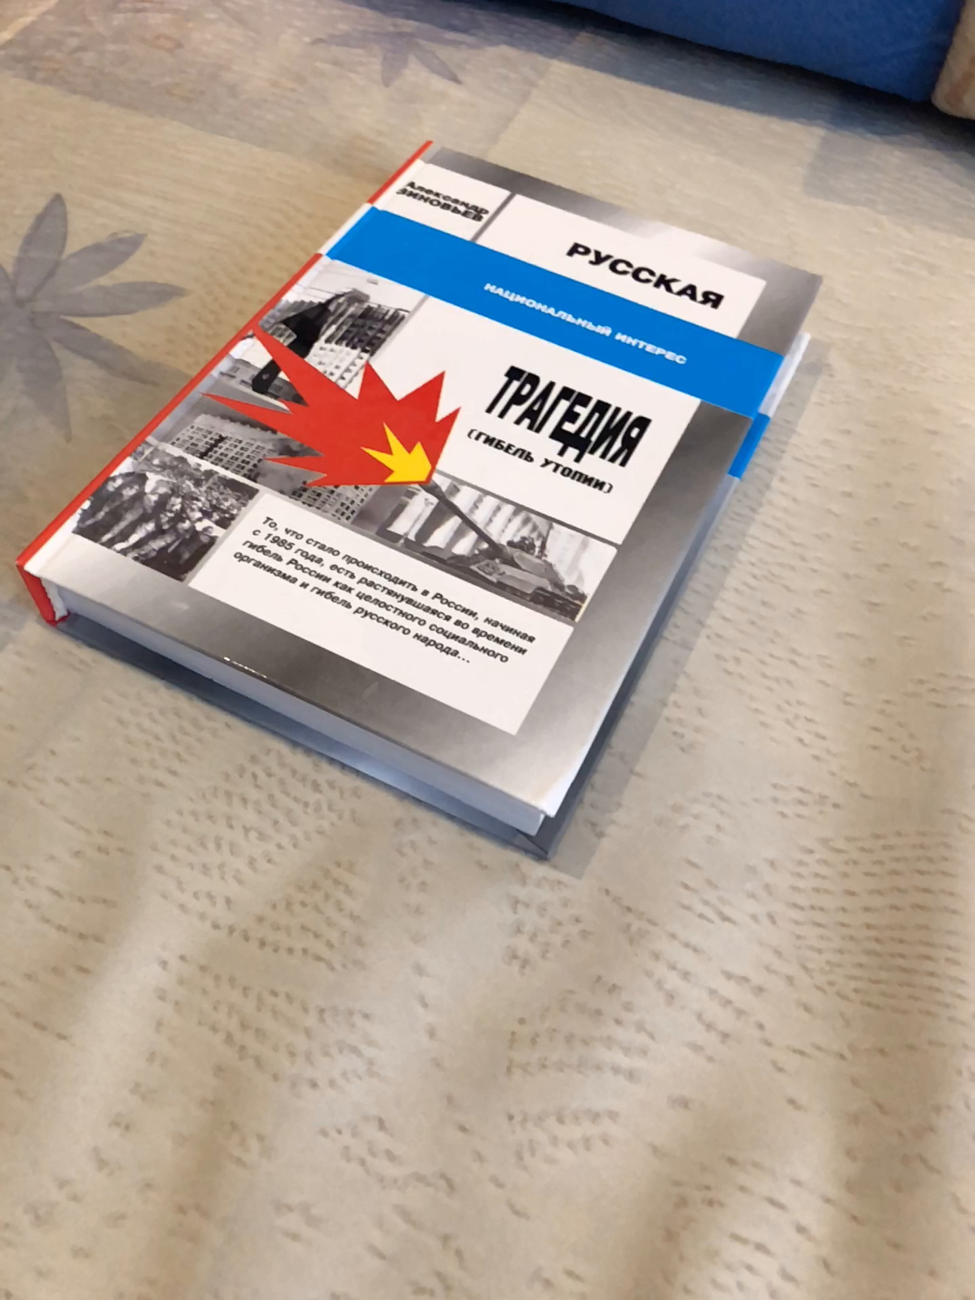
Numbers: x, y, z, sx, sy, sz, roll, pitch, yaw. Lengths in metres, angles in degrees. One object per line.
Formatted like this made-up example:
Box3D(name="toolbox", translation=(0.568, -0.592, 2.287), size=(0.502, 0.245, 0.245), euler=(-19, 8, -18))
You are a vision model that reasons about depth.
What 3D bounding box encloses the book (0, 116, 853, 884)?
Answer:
Box3D(name="book", translation=(-0.009, -0.062, 0.301), size=(0.160, 0.040, 0.201), euler=(23, 57, 14))
